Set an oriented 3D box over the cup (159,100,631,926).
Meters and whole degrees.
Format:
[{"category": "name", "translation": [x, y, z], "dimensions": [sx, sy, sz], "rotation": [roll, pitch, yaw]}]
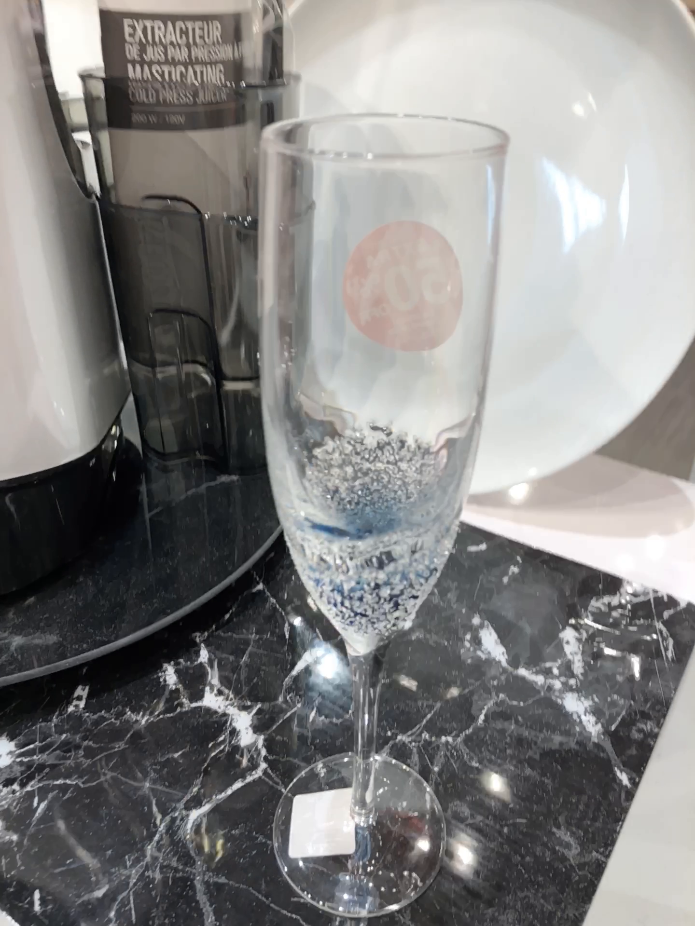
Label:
[{"category": "cup", "translation": [0.007, 0.036, 0.228], "dimensions": [0.070, 0.249, 0.070], "rotation": [1, 32, 0]}]
